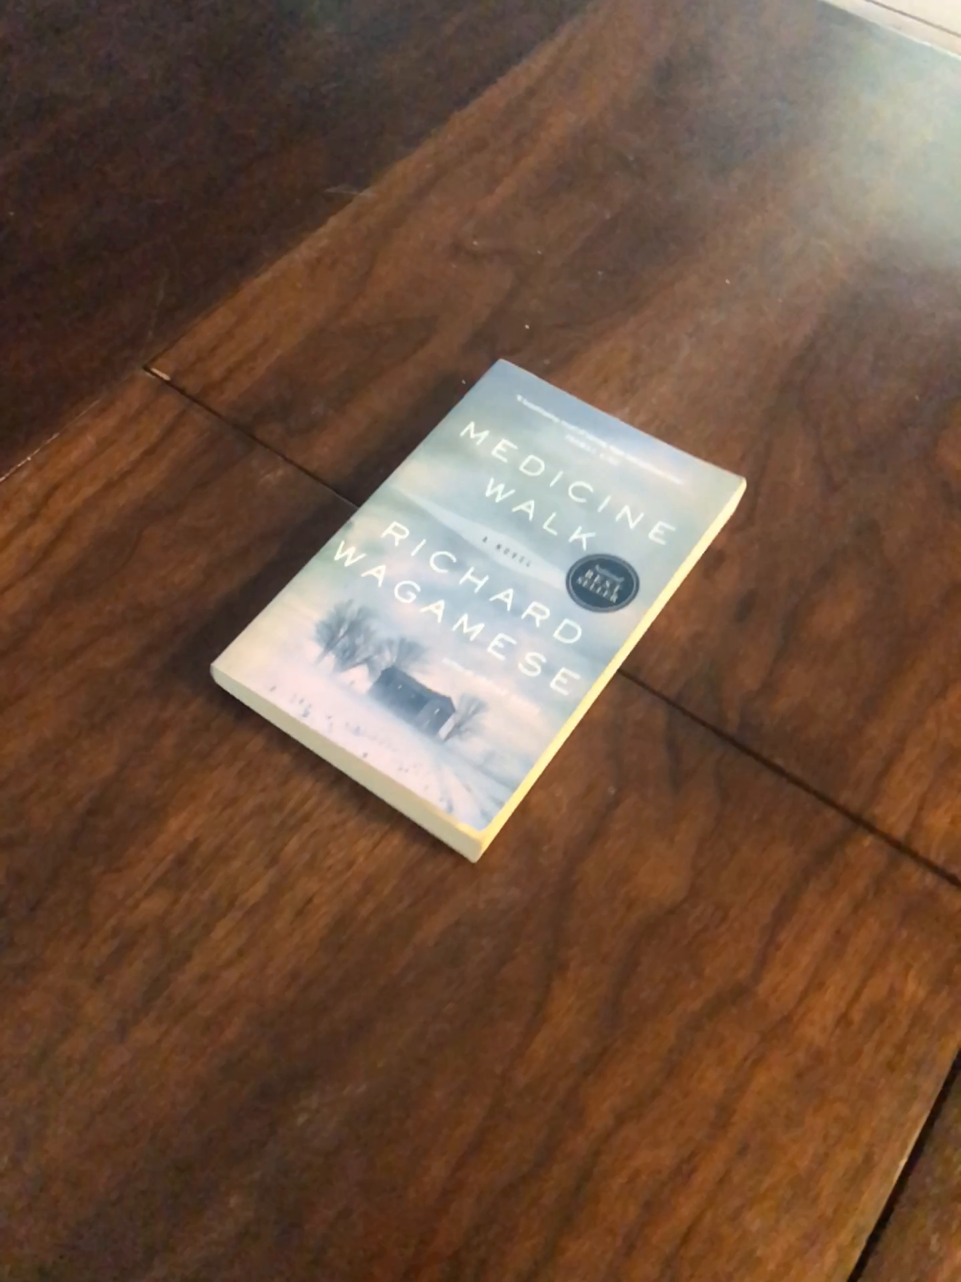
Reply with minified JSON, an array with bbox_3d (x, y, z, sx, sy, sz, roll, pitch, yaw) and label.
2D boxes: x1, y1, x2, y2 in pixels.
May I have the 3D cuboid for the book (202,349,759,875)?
[{"bbox_3d":[0.006,-0.025,0.452,0.138,0.027,0.206,32,64,16],"label":"book"}]
